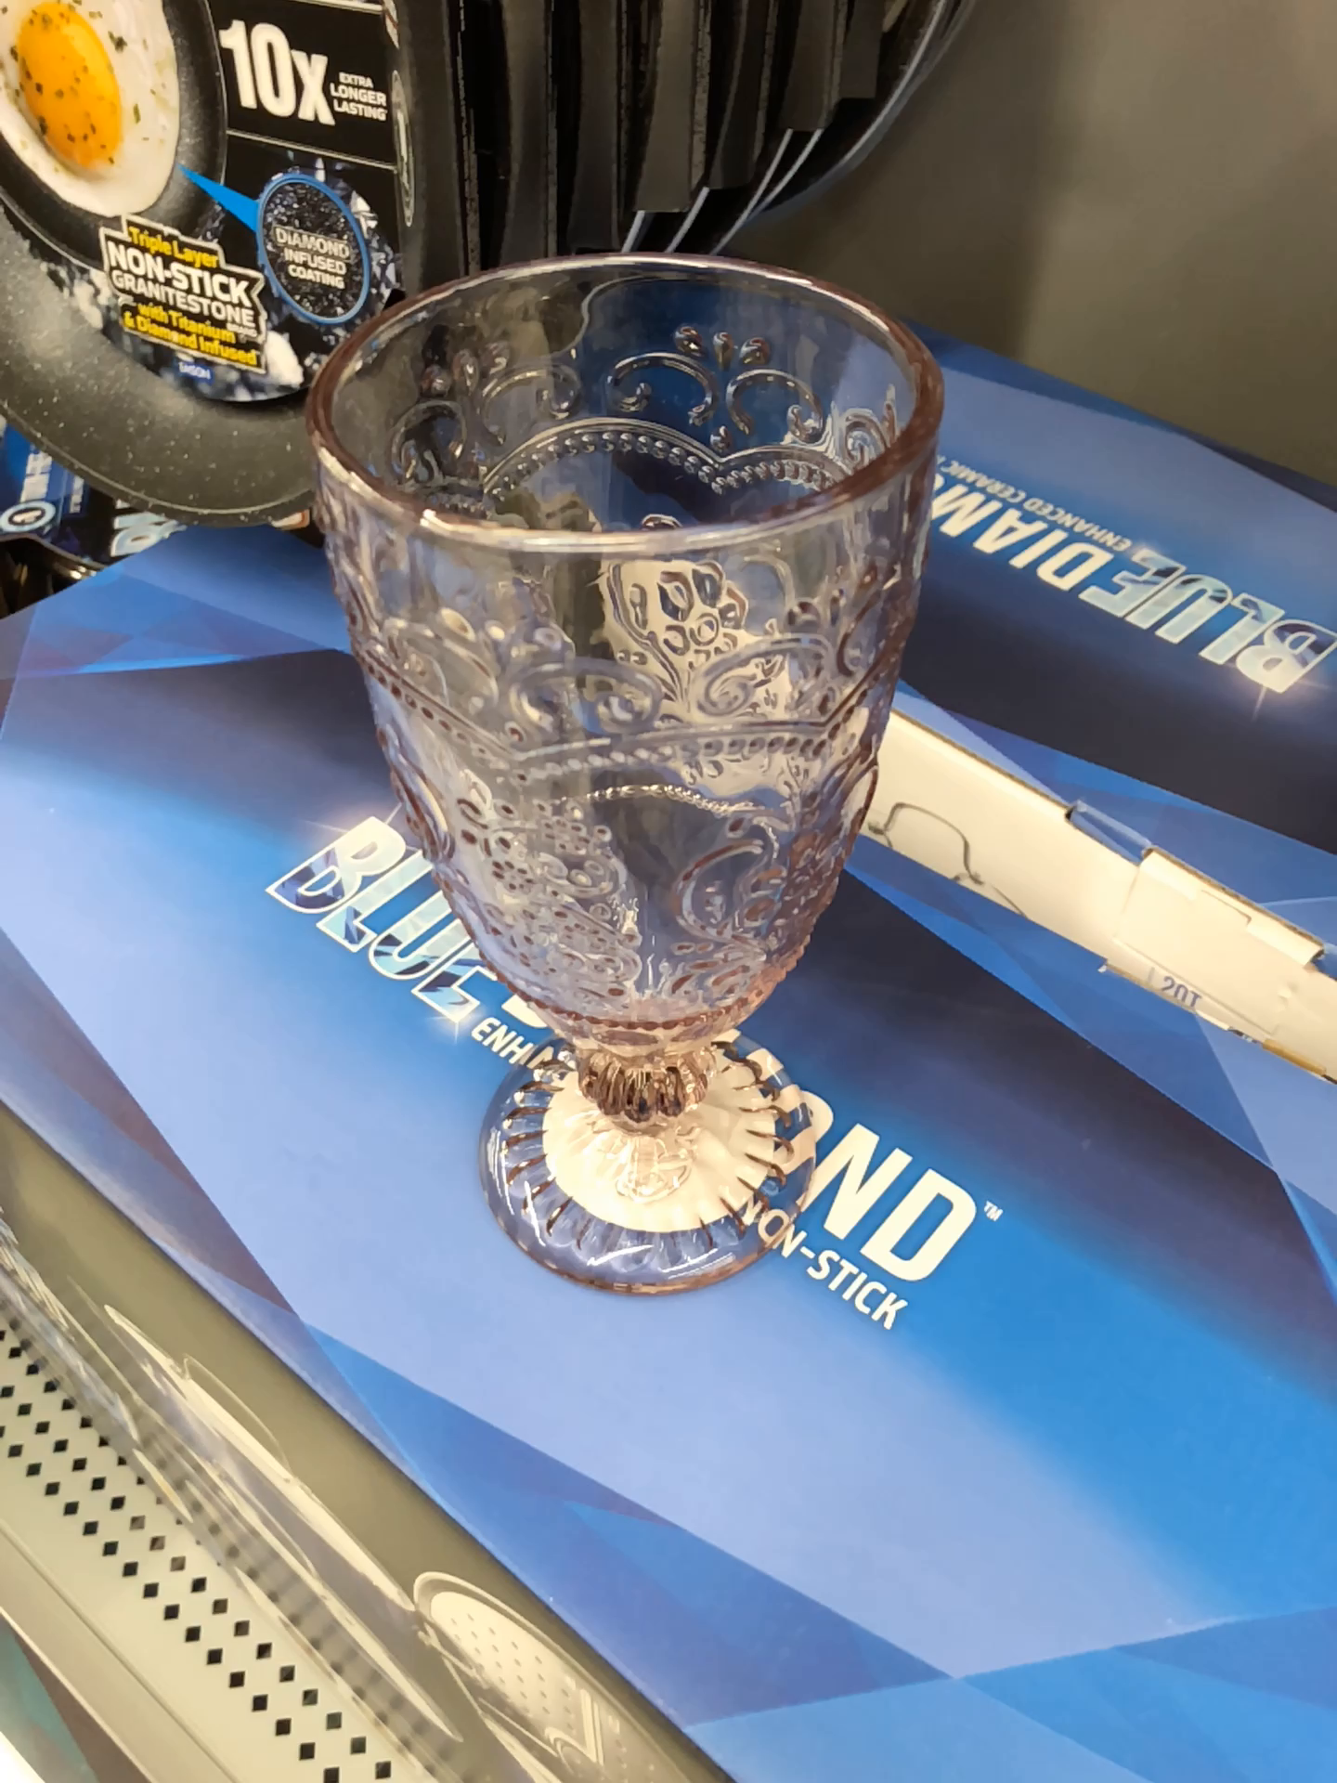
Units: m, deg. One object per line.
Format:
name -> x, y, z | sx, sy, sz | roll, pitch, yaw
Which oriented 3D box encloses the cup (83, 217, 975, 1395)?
cup -> -0.011, -0.008, 0.253 | 0.089, 0.168, 0.086 | -1, 43, 1
